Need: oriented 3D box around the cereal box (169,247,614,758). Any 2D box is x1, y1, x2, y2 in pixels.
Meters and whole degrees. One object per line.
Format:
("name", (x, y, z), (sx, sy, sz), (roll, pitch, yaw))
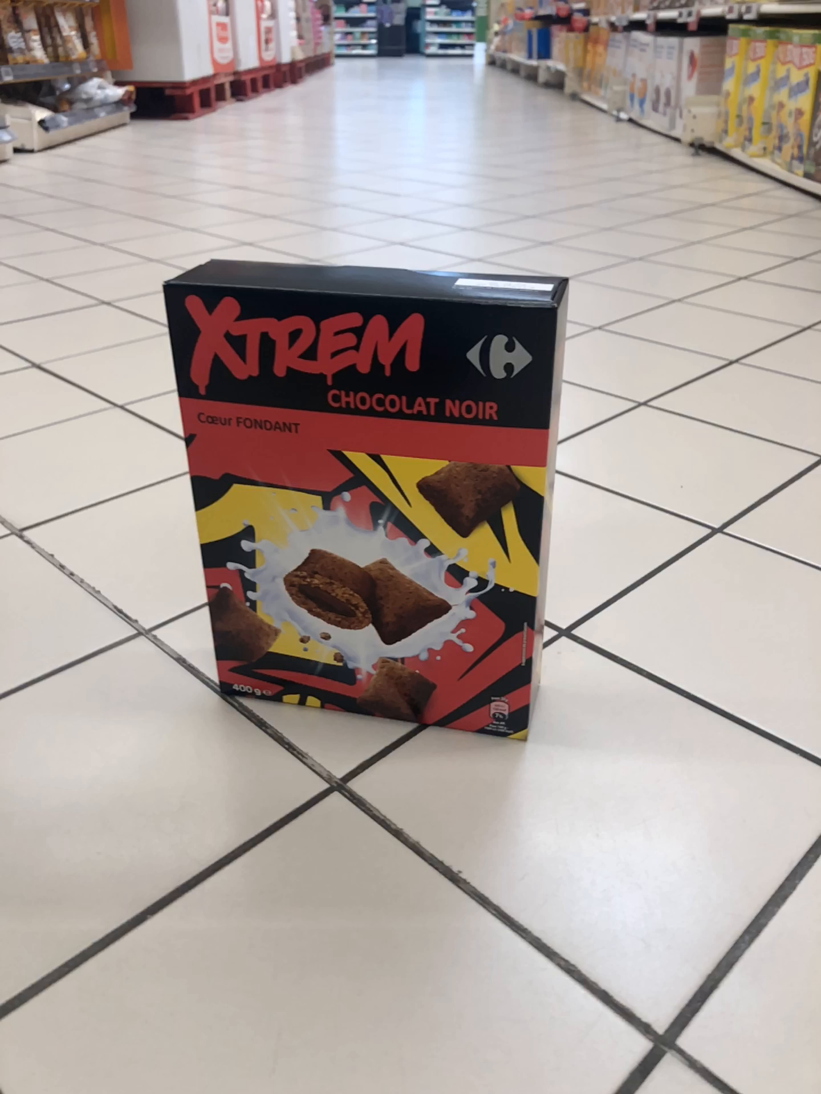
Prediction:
("cereal box", (-0.007, -0.022, 0.489), (0.200, 0.249, 0.070), (7, 30, 13))
